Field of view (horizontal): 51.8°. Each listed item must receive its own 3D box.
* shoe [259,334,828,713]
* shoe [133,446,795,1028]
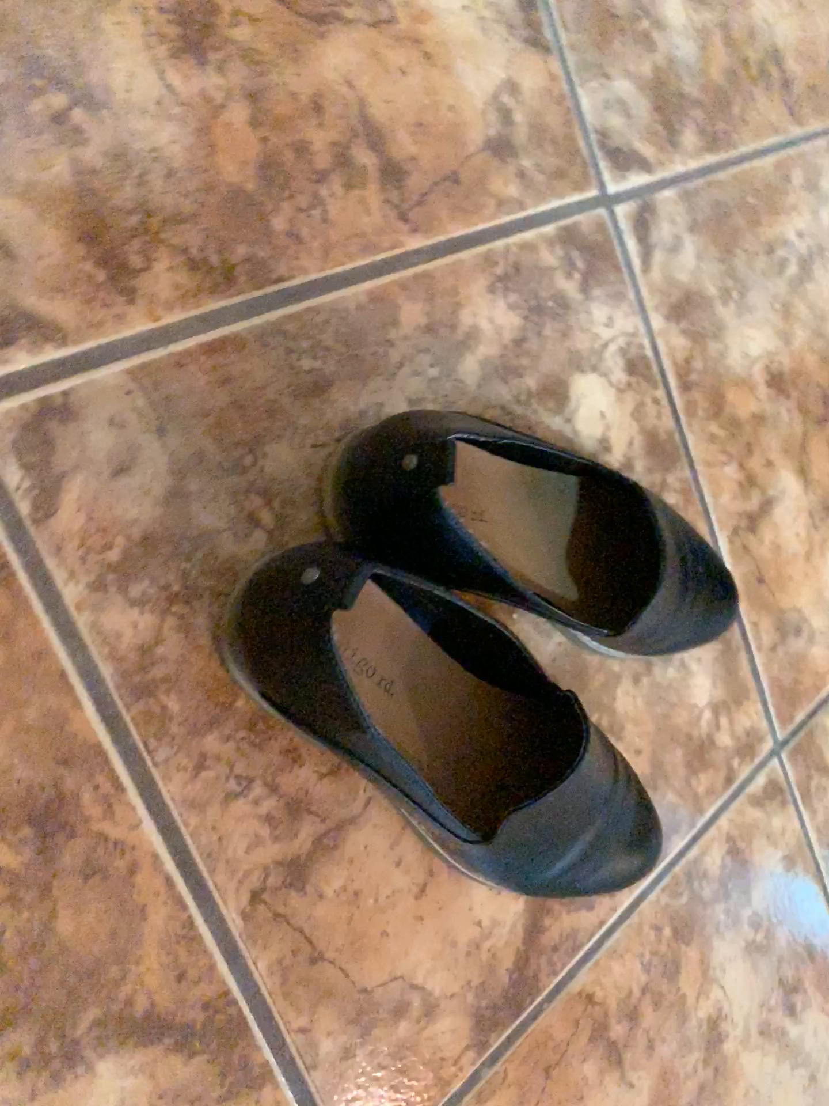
[{"bbox_3d":[0.072,0.004,0.364,0.256,0.070,0.087,16,77,-33],"label":"shoe"},{"bbox_3d":[0.036,0.079,0.321,0.257,0.070,0.086,40,65,-26],"label":"shoe"}]
